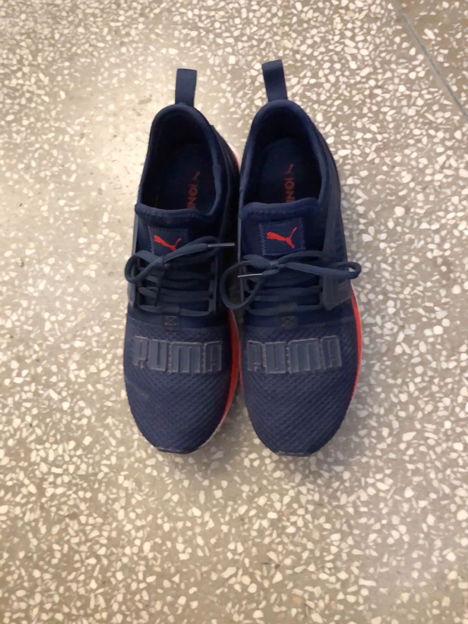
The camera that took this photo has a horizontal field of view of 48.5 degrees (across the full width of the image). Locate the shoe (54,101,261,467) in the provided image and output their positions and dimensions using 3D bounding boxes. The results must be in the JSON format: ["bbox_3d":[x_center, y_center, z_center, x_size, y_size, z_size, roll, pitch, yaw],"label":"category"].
[{"bbox_3d":[-0.048,-0.020,0.418,0.107,0.113,0.257,4,80,9],"label":"shoe"}]

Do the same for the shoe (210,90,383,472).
[{"bbox_3d":[0.050,-0.019,0.402,0.107,0.113,0.257,0,79,9],"label":"shoe"}]
